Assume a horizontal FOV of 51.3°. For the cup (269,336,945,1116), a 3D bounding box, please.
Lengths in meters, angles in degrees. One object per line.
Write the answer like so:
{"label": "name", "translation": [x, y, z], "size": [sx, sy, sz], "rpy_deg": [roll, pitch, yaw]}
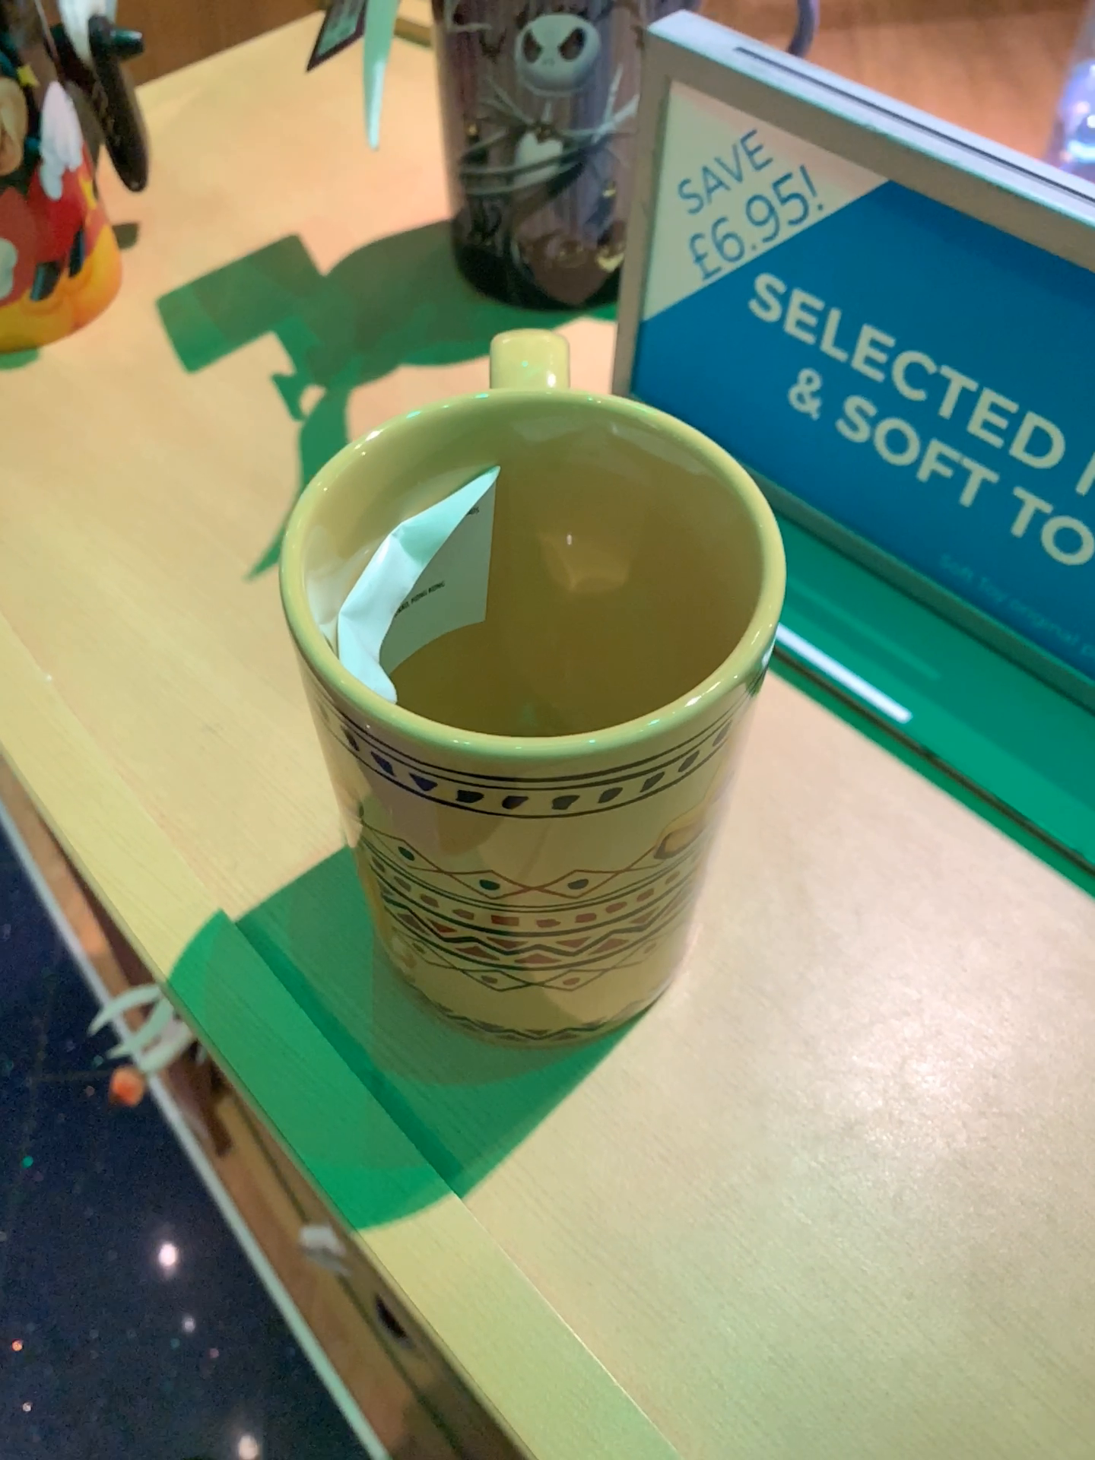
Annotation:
{"label": "cup", "translation": [0.001, 0.002, 0.250], "size": [0.100, 0.121, 0.120], "rpy_deg": [-2, 54, -6]}
